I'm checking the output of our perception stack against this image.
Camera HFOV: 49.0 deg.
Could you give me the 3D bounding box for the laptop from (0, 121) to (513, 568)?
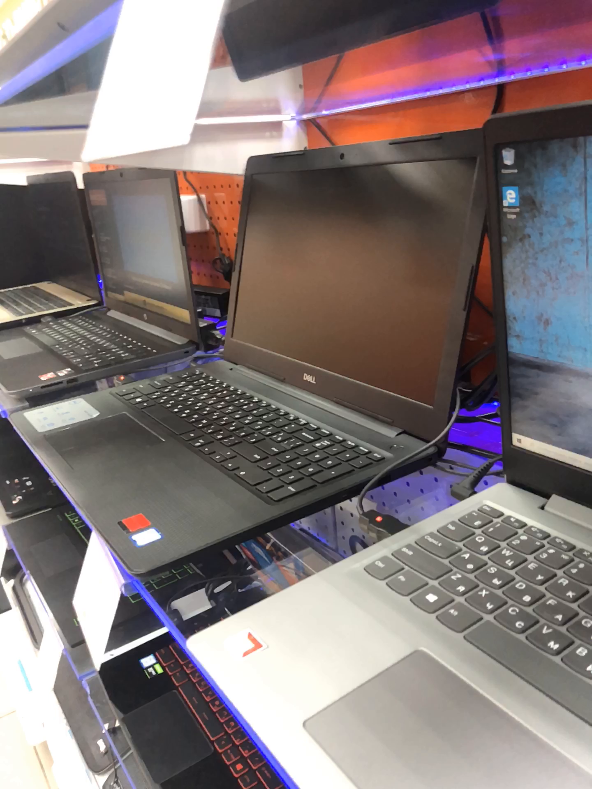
[{"bbox_3d":[-0.070,-0.090,0.576,0.316,0.233,0.374,-17,22,-31],"label":"laptop"}]
